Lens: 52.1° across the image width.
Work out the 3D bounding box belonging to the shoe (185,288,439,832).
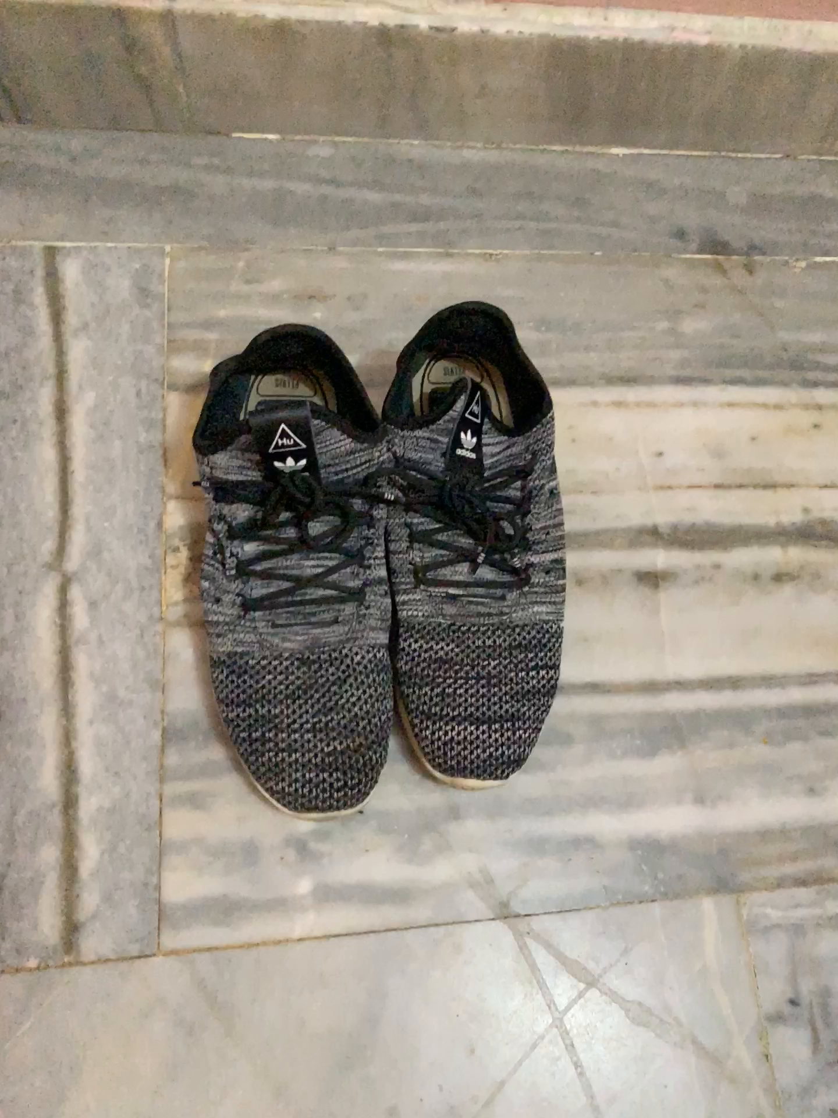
[{"bbox_3d":[-0.069,-0.004,0.497,0.120,0.080,0.300,-2,72,-9],"label":"shoe"}]

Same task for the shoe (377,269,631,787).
[{"bbox_3d":[0.040,-0.020,0.520,0.120,0.080,0.300,1,71,-8],"label":"shoe"}]
